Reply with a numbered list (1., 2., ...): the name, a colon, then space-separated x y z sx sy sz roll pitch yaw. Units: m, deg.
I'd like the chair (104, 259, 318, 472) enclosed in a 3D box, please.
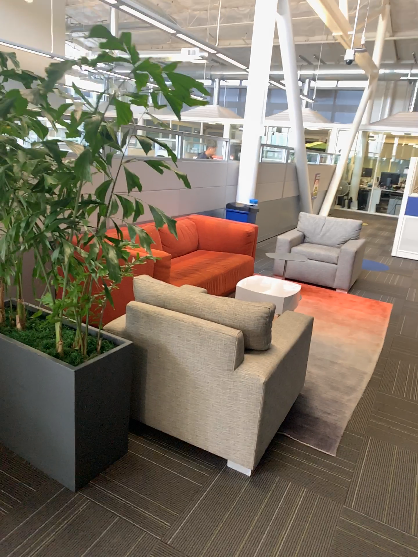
1. chair: 0.037 0.397 2.513 0.921 0.727 0.872 12 18 23
